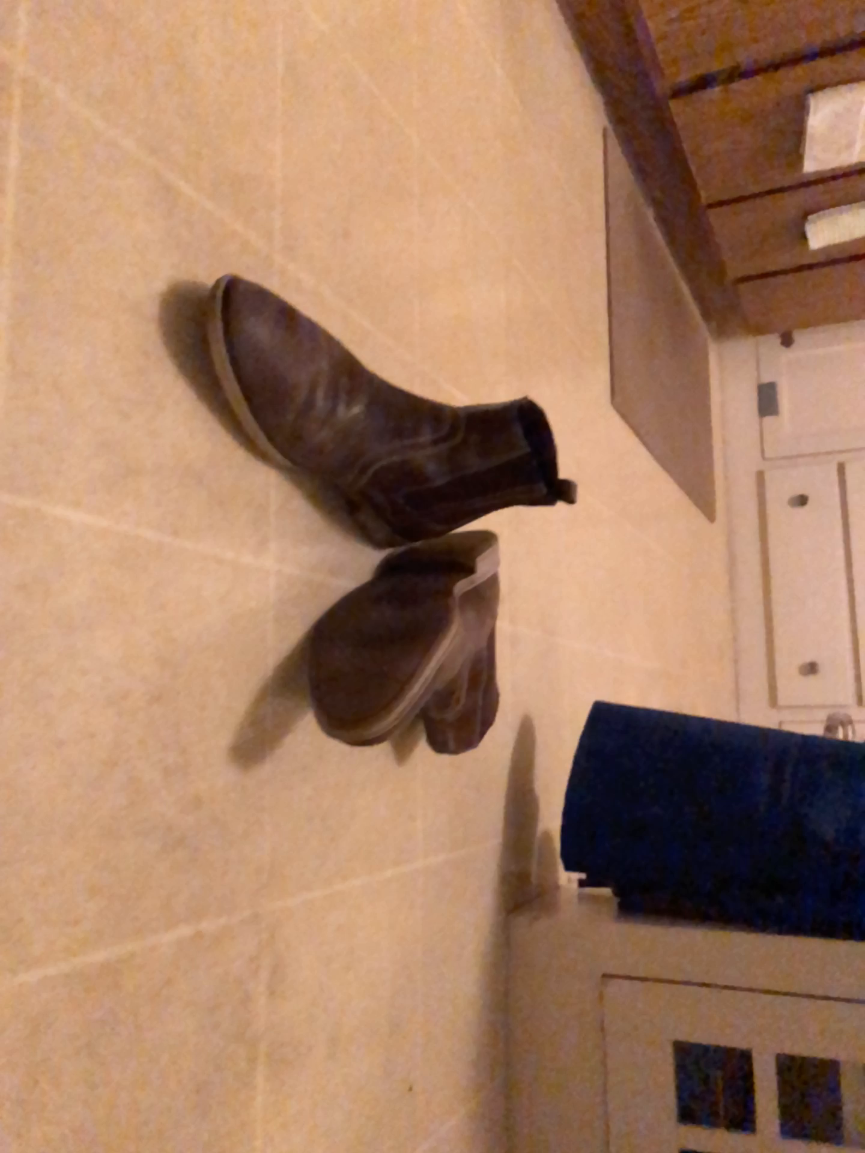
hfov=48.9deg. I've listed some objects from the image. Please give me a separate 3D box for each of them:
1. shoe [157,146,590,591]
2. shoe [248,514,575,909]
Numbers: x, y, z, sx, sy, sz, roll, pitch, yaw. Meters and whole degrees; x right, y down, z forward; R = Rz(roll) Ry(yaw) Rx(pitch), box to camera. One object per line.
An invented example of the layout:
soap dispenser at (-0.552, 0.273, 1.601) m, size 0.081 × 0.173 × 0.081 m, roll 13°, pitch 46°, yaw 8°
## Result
shoe at (-0.015, -0.115, 0.668) m, size 0.314 × 0.160 × 0.111 m, roll 48°, pitch 44°, yaw -52°
shoe at (0.007, 0.083, 0.744) m, size 0.315 × 0.111 × 0.161 m, roll -46°, pitch 129°, yaw -58°
